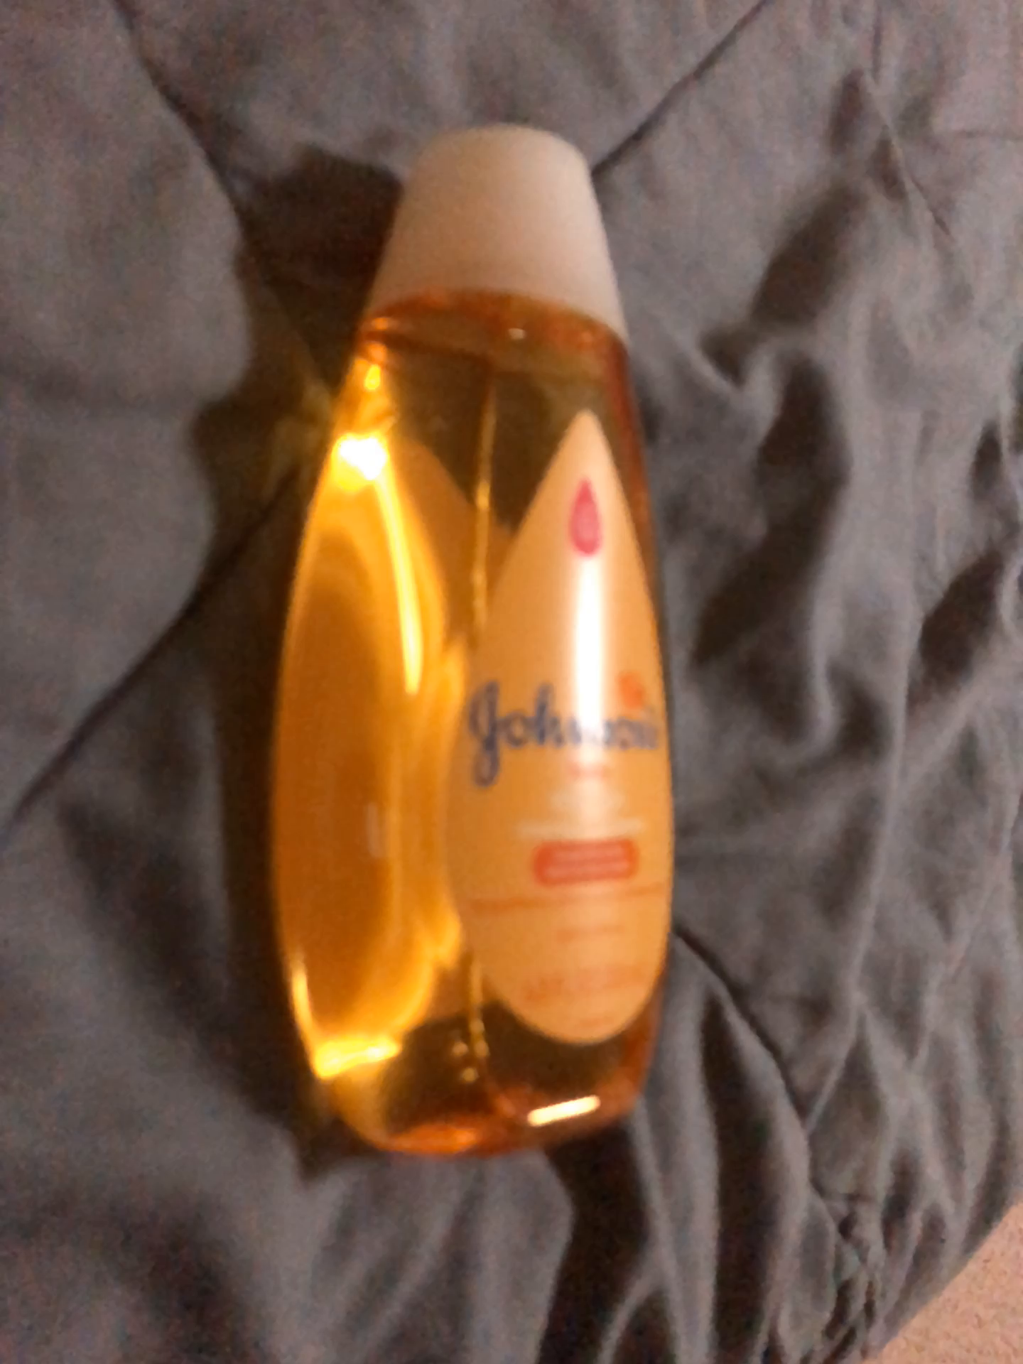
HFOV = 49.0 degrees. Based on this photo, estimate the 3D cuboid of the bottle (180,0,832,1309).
[{"bbox_3d":[0.003,-0.014,0.162,0.084,0.040,0.160,-1,88,-44],"label":"bottle"}]
